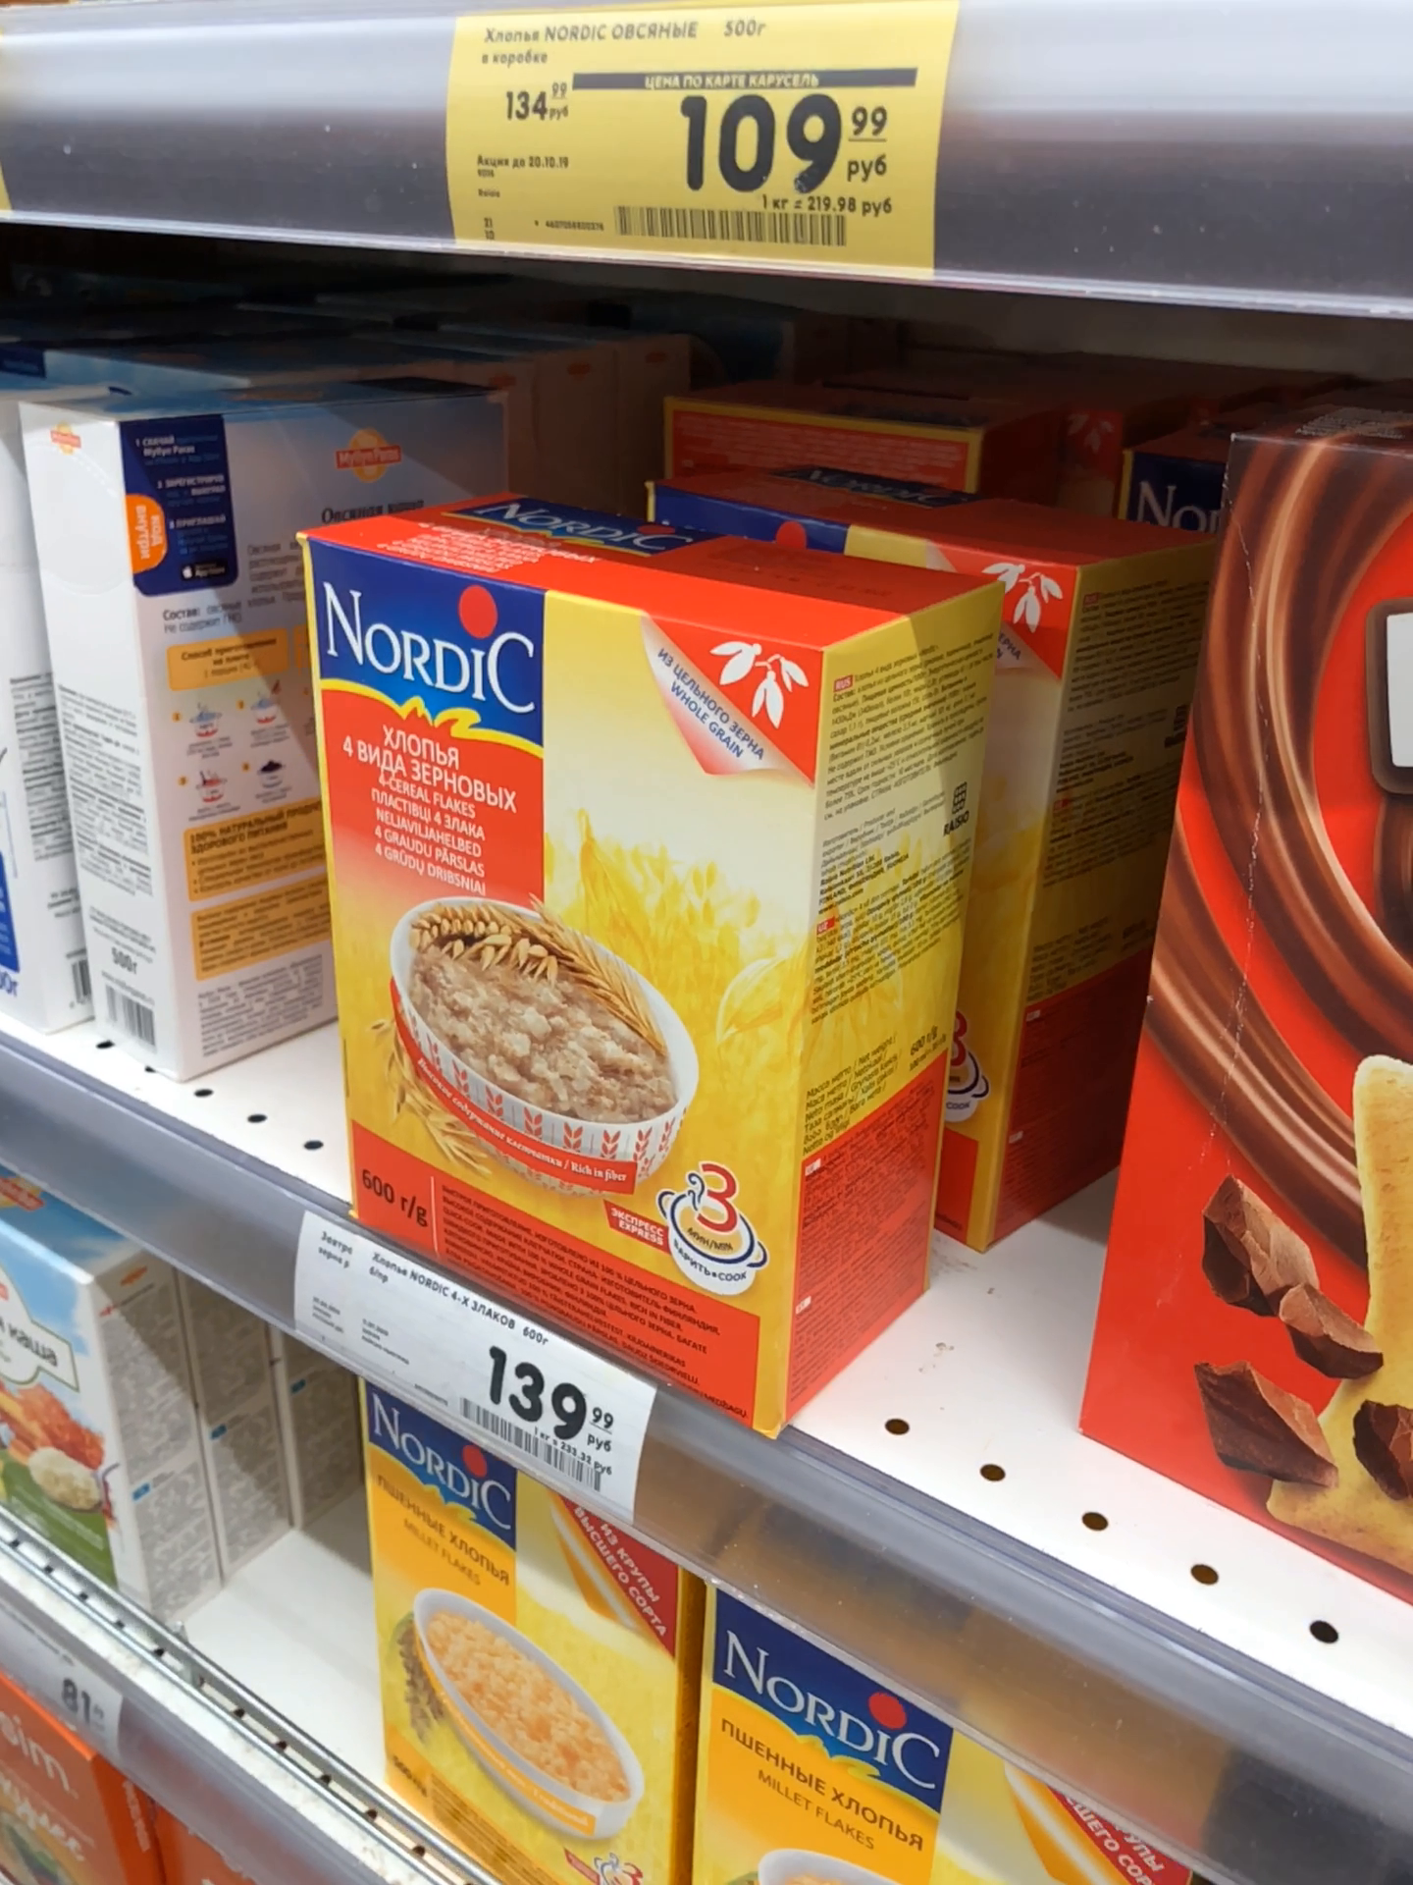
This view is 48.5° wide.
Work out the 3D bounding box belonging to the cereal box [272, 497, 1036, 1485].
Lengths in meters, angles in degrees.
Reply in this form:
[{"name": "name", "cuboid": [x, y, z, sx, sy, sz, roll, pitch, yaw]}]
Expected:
[{"name": "cereal box", "cuboid": [-0.017, 0.002, 0.383, 0.150, 0.189, 0.080, 19, 29, 32]}]
